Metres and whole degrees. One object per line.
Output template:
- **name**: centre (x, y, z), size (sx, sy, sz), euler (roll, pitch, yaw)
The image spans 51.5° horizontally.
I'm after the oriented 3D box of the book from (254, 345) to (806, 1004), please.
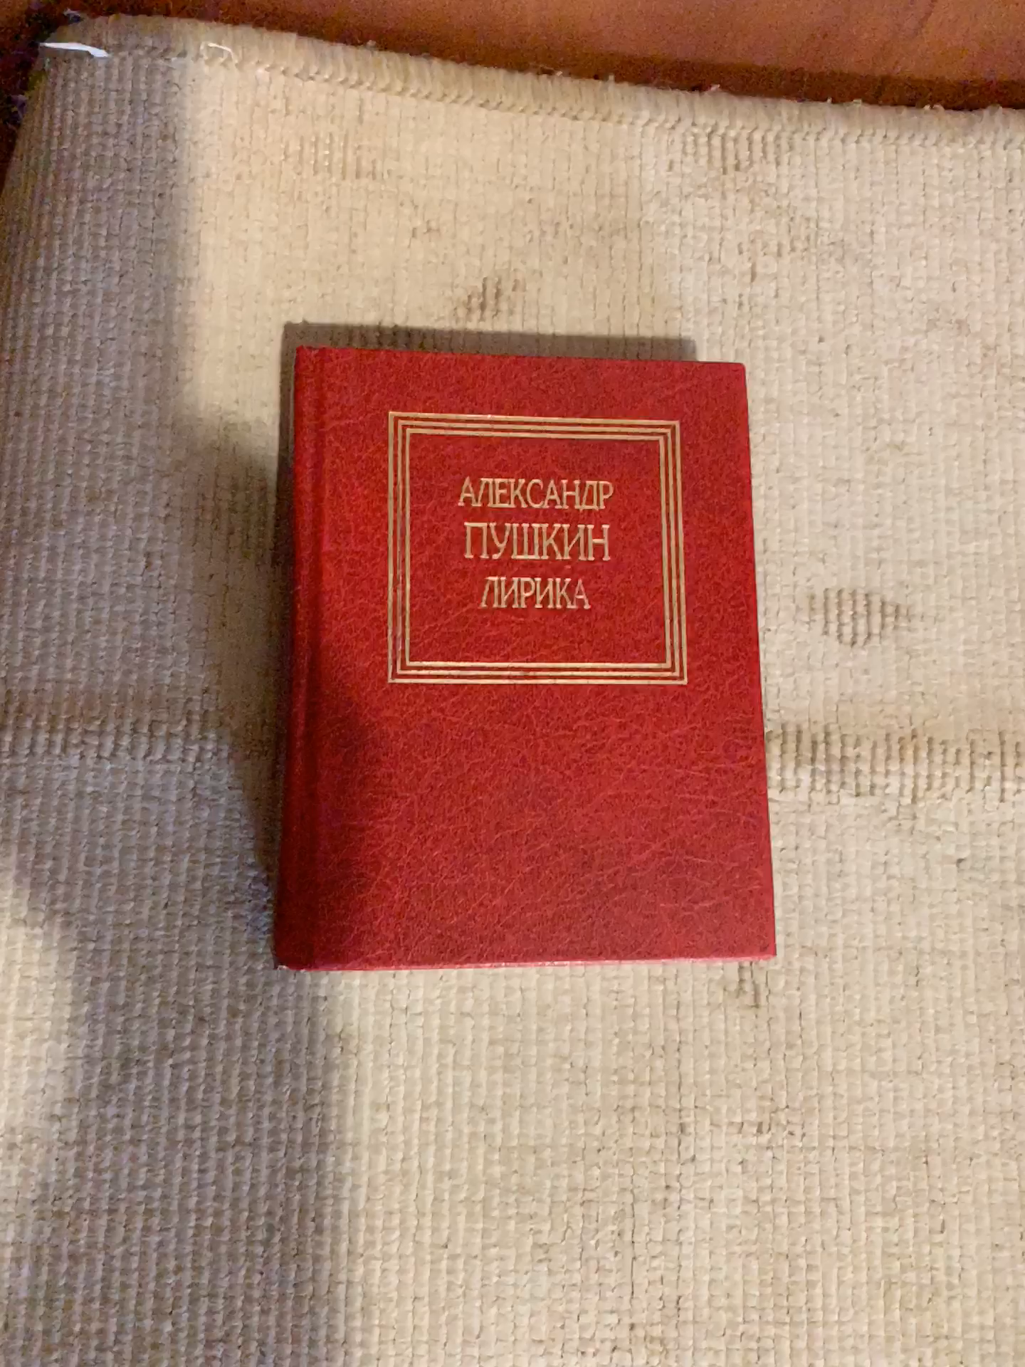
- **book**: centre (0.004, -0.002, 0.258), size (0.119, 0.034, 0.149), euler (1, 80, -5)
